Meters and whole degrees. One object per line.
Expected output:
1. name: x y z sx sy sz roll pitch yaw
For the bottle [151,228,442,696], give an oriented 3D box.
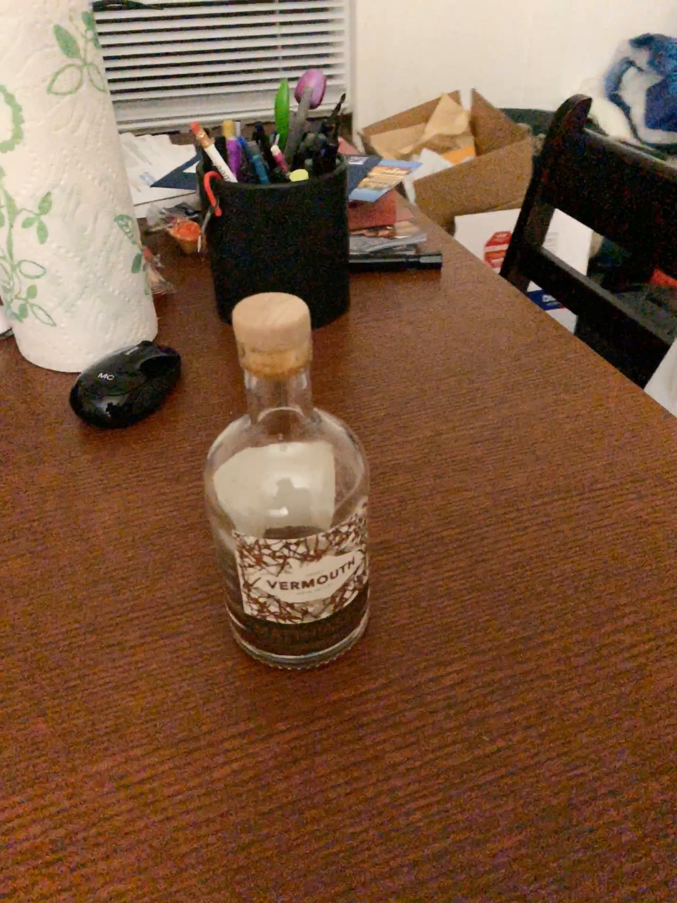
1. bottle: -0.017 0.010 0.321 0.090 0.189 0.080 -14 39 -15
